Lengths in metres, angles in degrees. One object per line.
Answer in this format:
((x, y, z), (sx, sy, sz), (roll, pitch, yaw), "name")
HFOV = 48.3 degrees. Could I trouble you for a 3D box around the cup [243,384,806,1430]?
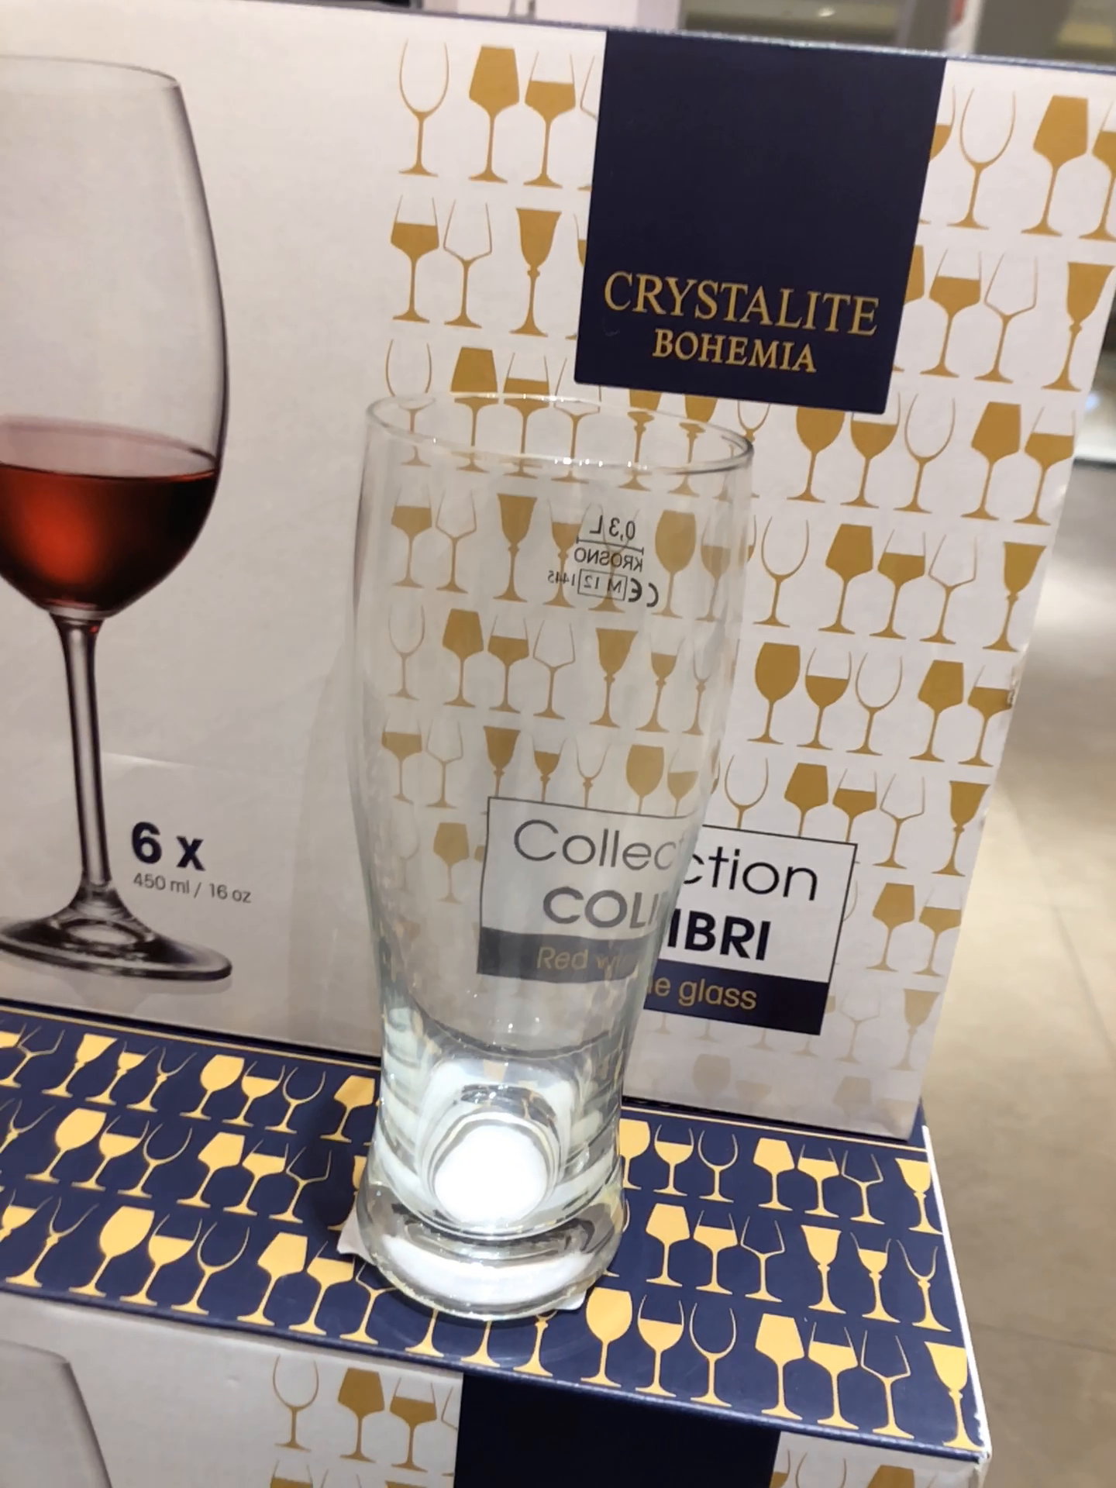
((-0.006, 0.029, 0.249), (0.080, 0.179, 0.081), (4, 23, -2), "cup")
